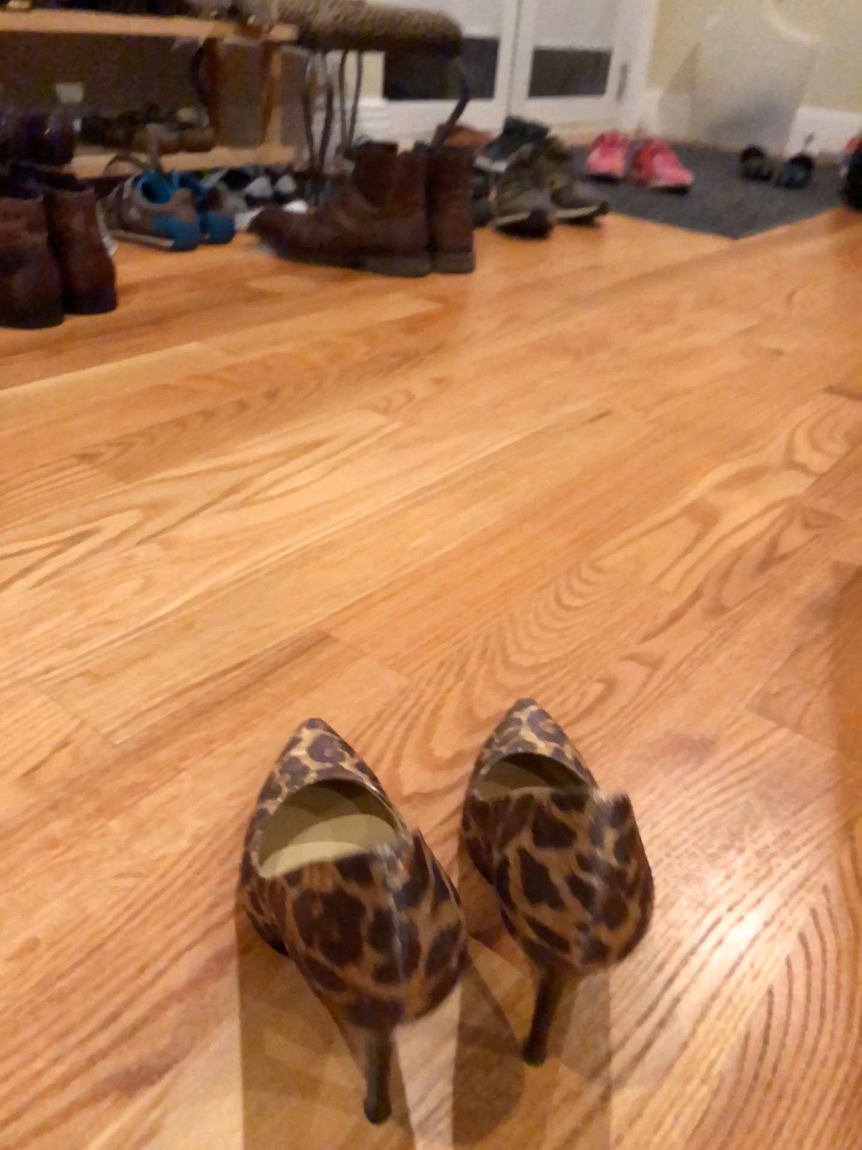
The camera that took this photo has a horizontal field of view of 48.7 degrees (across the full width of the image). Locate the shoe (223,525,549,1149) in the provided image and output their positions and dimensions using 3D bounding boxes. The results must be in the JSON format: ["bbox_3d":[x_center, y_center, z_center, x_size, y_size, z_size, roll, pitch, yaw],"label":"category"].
[{"bbox_3d":[-0.036,0.096,0.389,0.083,0.144,0.220,-3,31,-13],"label":"shoe"}]

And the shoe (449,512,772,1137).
[{"bbox_3d":[0.056,0.090,0.414,0.083,0.144,0.220,4,30,-2],"label":"shoe"}]
